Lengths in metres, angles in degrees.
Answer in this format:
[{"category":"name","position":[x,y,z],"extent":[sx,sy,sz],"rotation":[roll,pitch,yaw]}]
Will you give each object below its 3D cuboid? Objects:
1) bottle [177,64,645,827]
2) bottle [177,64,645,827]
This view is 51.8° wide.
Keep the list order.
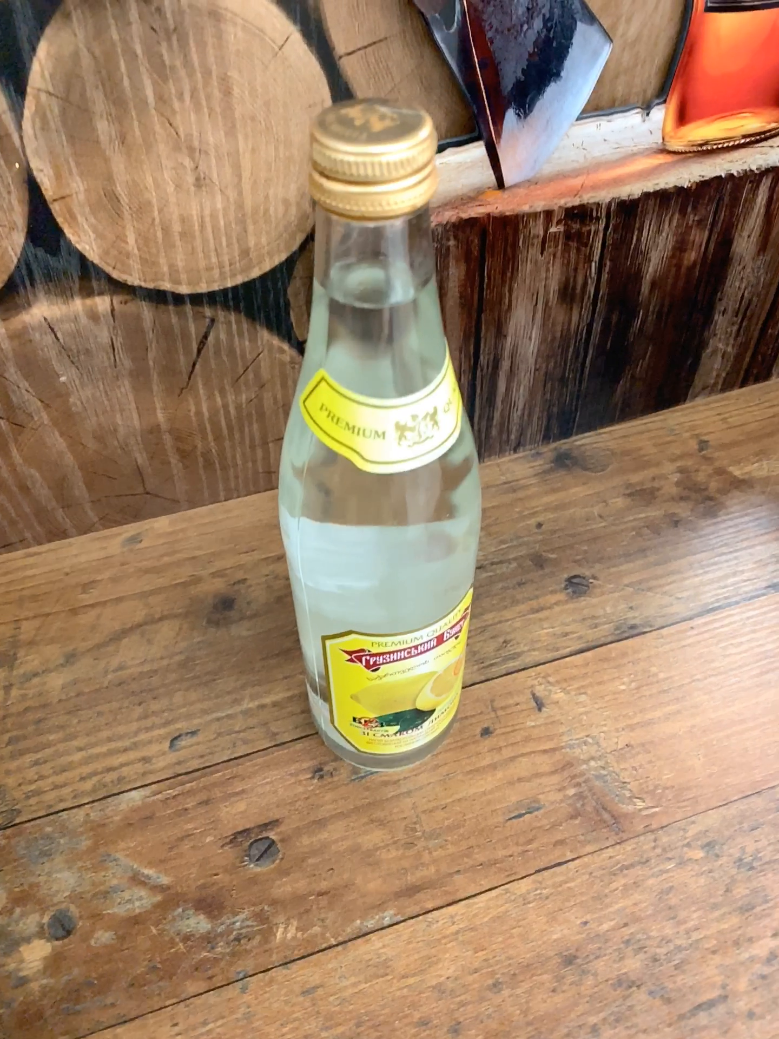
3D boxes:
[{"category":"bottle","position":[0.000,0.003,0.234],"extent":[0.070,0.219,0.070],"rotation":[0,48,0]},{"category":"bottle","position":[0.000,0.003,0.234],"extent":[0.070,0.219,0.070],"rotation":[0,48,0]}]
